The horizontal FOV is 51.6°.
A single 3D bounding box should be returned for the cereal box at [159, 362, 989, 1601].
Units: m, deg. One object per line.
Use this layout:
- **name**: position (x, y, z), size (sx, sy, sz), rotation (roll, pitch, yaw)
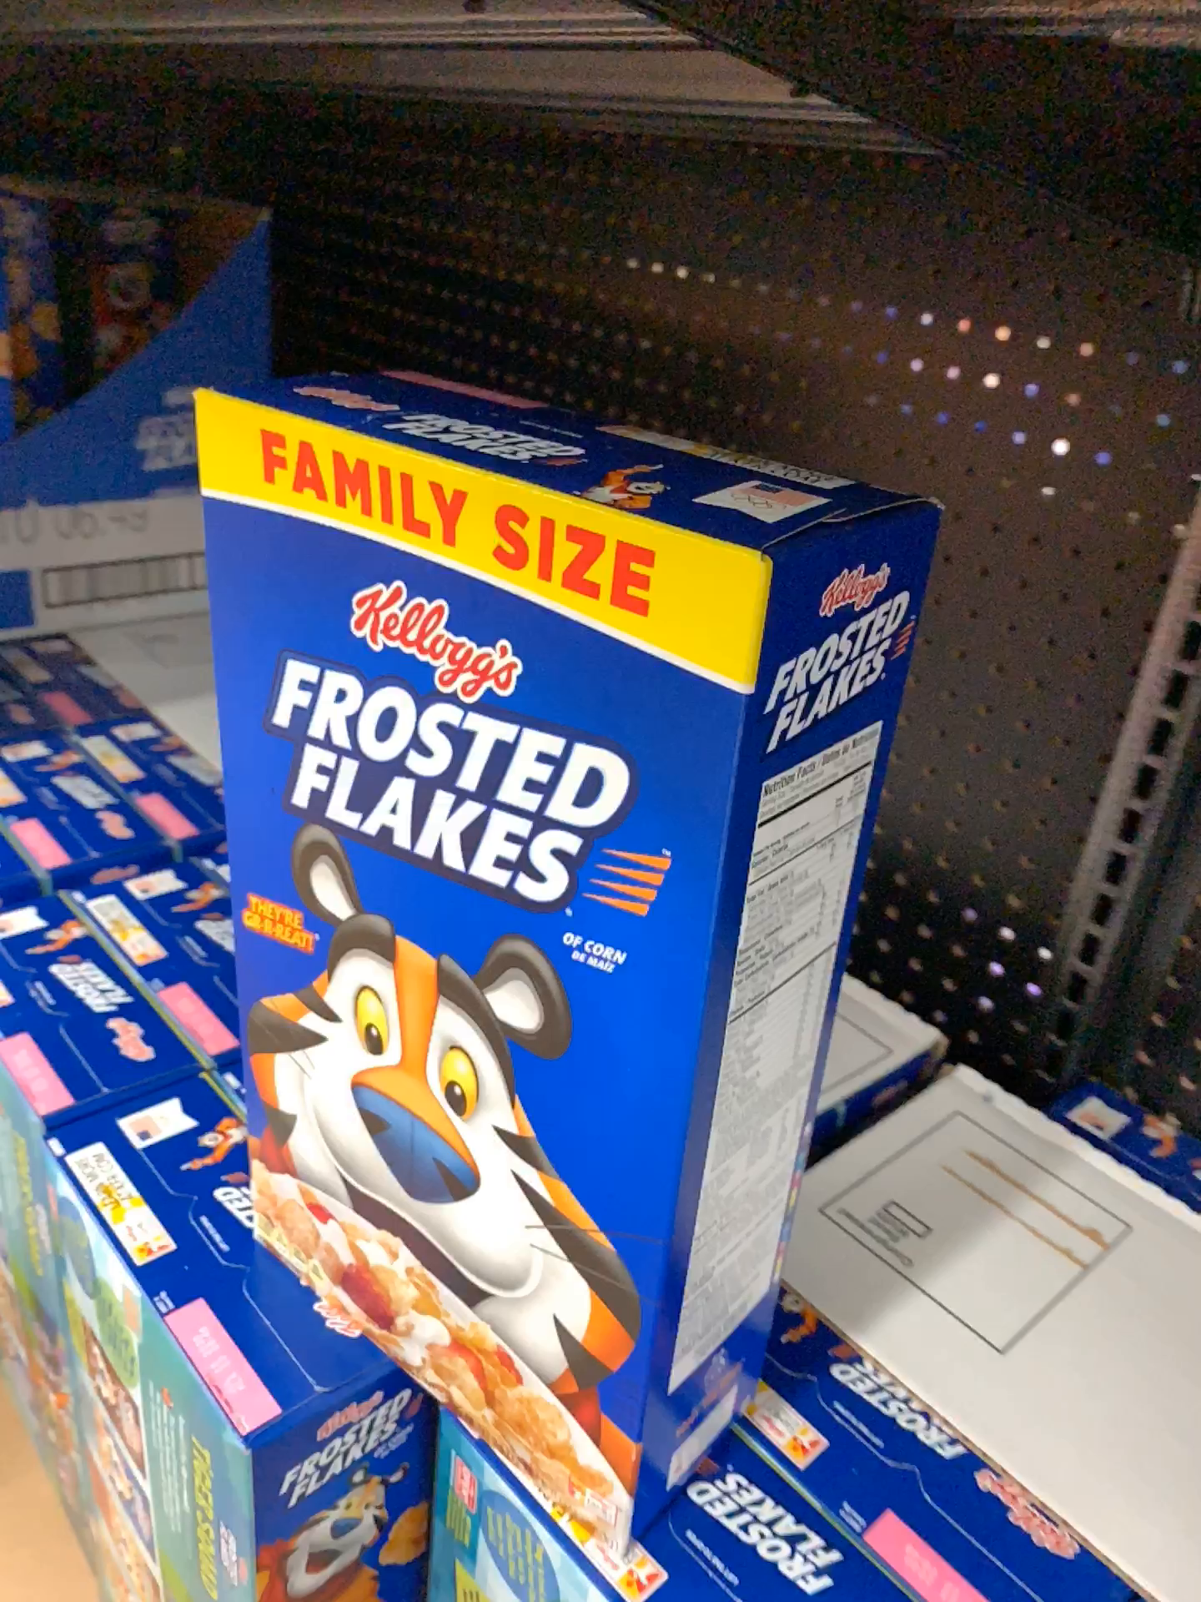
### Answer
- **cereal box**: position (-0.030, 0.051, 0.384), size (0.211, 0.318, 0.080), rotation (26, 34, 34)
